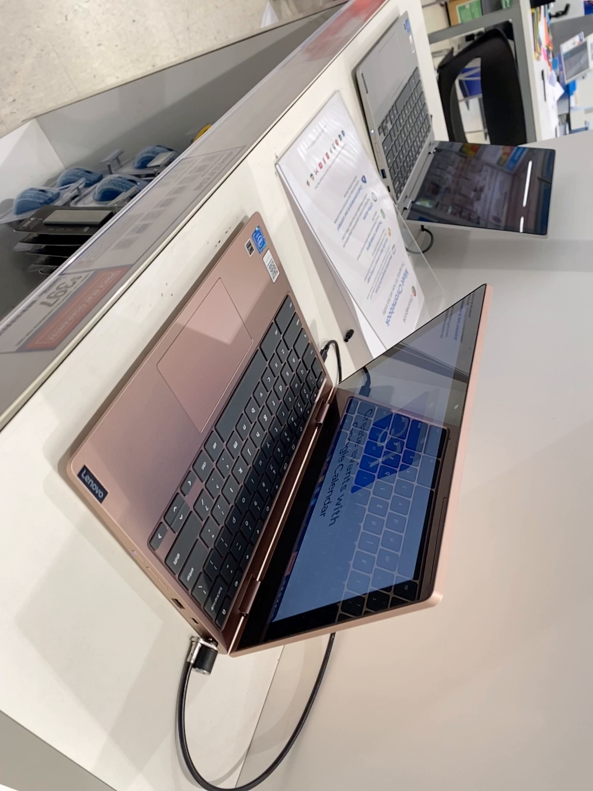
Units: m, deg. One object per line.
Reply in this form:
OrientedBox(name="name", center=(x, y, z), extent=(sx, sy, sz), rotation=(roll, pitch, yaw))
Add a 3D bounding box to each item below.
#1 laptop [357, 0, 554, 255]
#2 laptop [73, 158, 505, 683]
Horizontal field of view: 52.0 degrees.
OrientedBox(name="laptop", center=(0.255, -0.411, 0.886), extent=(0.265, 0.192, 0.311), rotation=(65, 34, -36))
OrientedBox(name="laptop", center=(0.034, 0.005, 0.434), extent=(0.196, 0.168, 0.281), rotation=(64, 35, -36))
